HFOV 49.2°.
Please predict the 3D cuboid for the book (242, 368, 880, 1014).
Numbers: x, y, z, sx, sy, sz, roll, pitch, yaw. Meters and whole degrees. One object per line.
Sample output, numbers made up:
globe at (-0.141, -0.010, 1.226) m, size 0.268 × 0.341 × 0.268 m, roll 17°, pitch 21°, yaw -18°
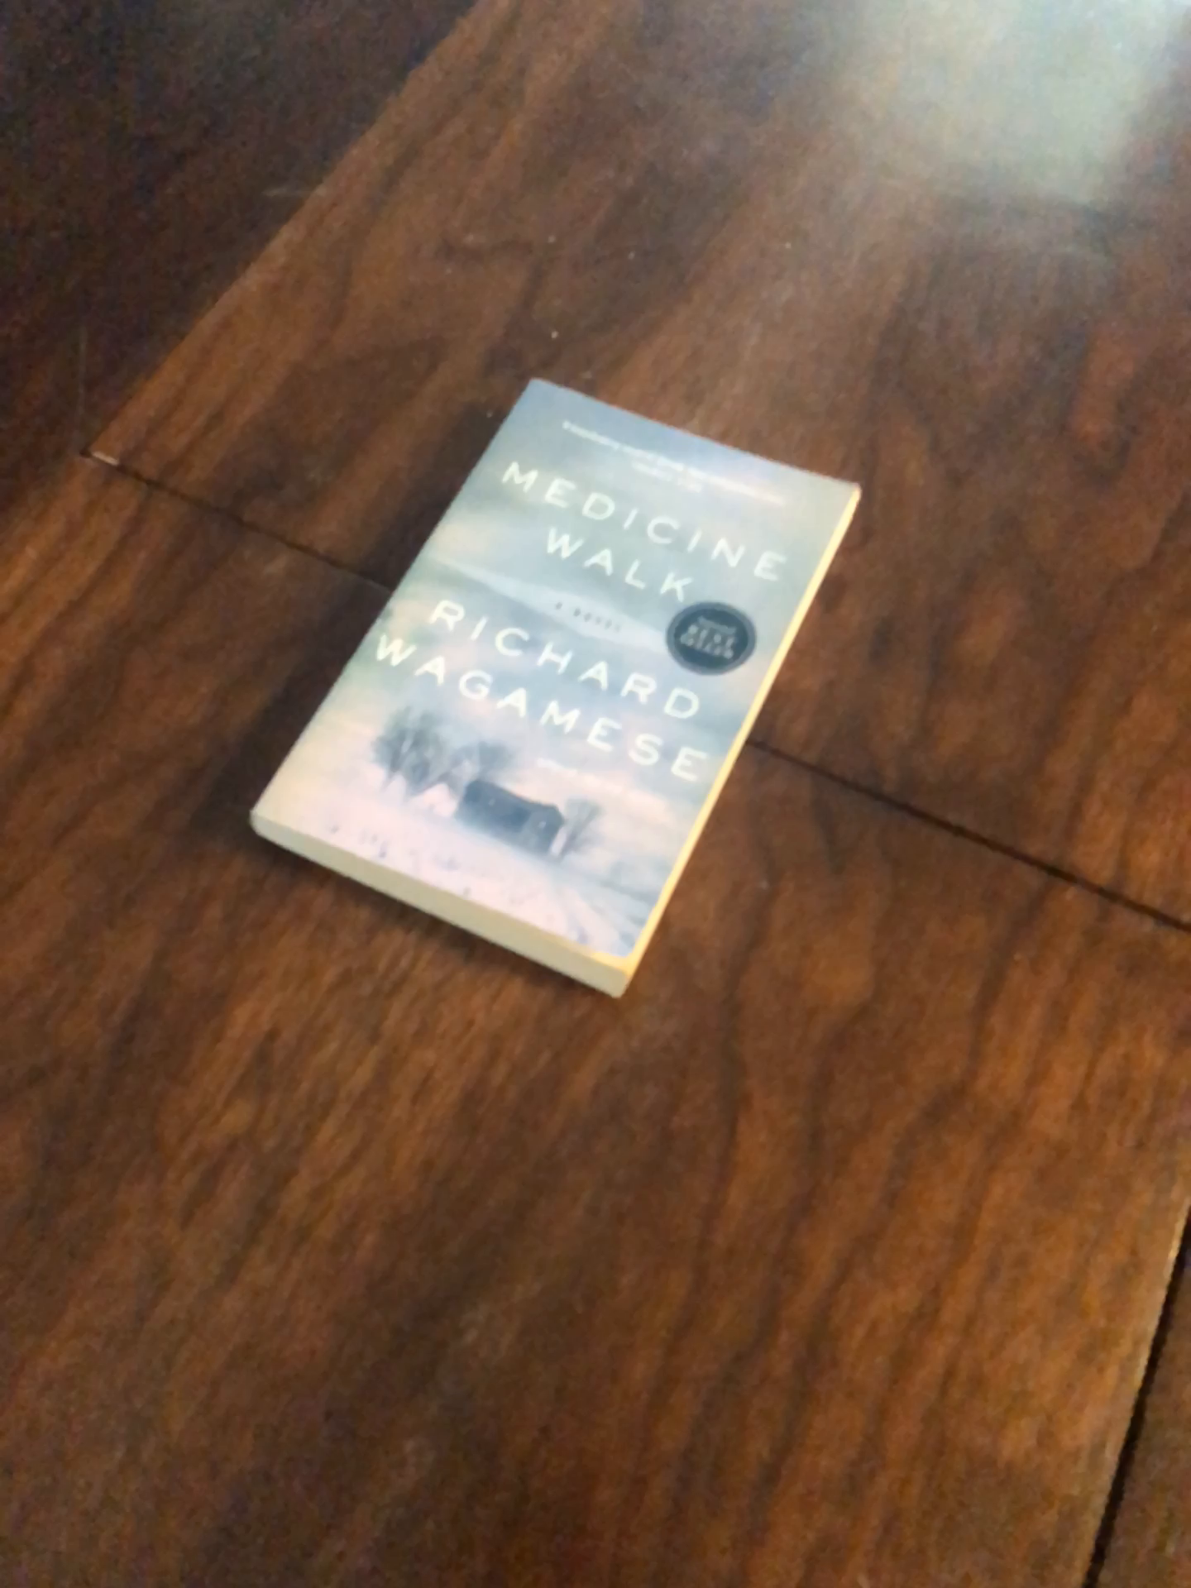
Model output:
book at (-0.004, -0.047, 0.449) m, size 0.138 × 0.027 × 0.206 m, roll 23°, pitch 65°, yaw 11°
